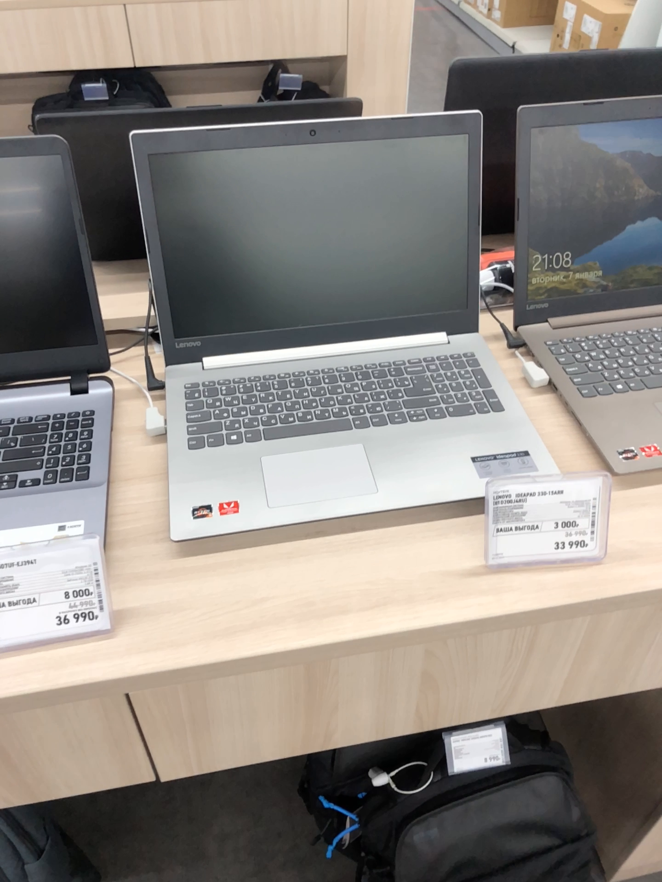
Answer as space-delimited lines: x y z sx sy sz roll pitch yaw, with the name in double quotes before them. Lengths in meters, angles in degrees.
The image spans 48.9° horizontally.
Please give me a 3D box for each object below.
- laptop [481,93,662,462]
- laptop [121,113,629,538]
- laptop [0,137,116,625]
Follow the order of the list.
"laptop" 0.418 -0.186 0.761 0.357 0.222 0.328 -8 44 -10
"laptop" 0.010 -0.133 0.704 0.365 0.220 0.337 -7 44 -8
"laptop" -0.389 -0.073 0.622 0.326 0.232 0.320 -6 43 -7
